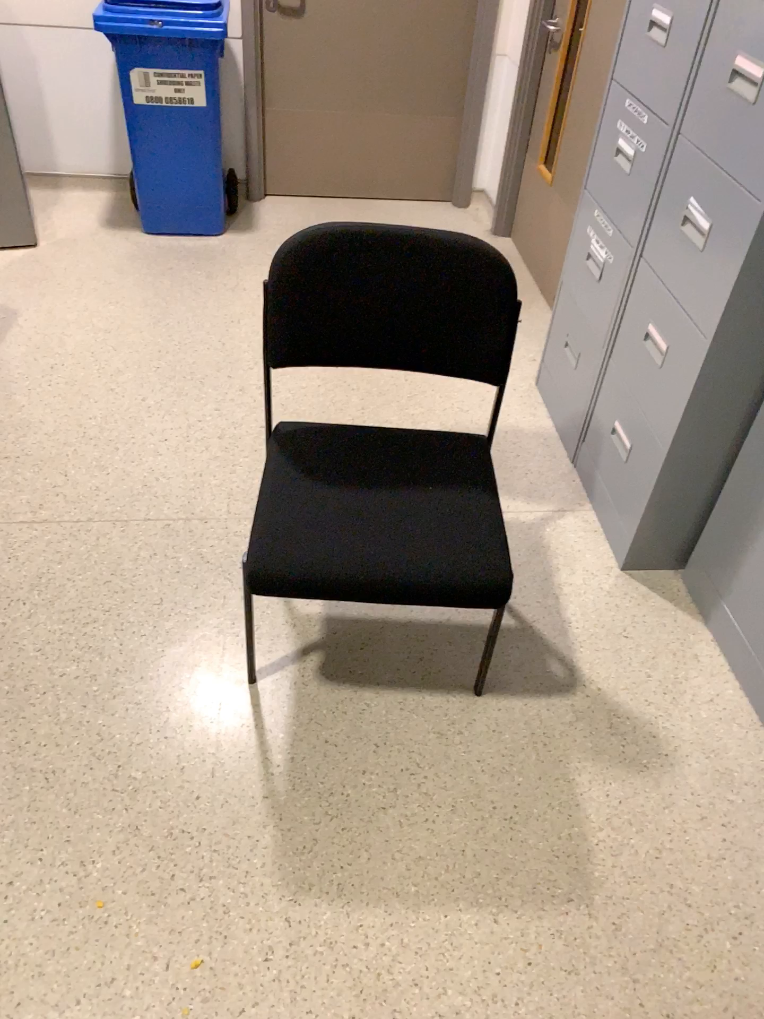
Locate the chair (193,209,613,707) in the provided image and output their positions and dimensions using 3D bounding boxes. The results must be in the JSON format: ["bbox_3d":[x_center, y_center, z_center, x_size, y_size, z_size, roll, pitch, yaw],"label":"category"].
[{"bbox_3d":[0.007,-0.088,1.654,0.630,0.831,0.586,4,41,-2],"label":"chair"}]
